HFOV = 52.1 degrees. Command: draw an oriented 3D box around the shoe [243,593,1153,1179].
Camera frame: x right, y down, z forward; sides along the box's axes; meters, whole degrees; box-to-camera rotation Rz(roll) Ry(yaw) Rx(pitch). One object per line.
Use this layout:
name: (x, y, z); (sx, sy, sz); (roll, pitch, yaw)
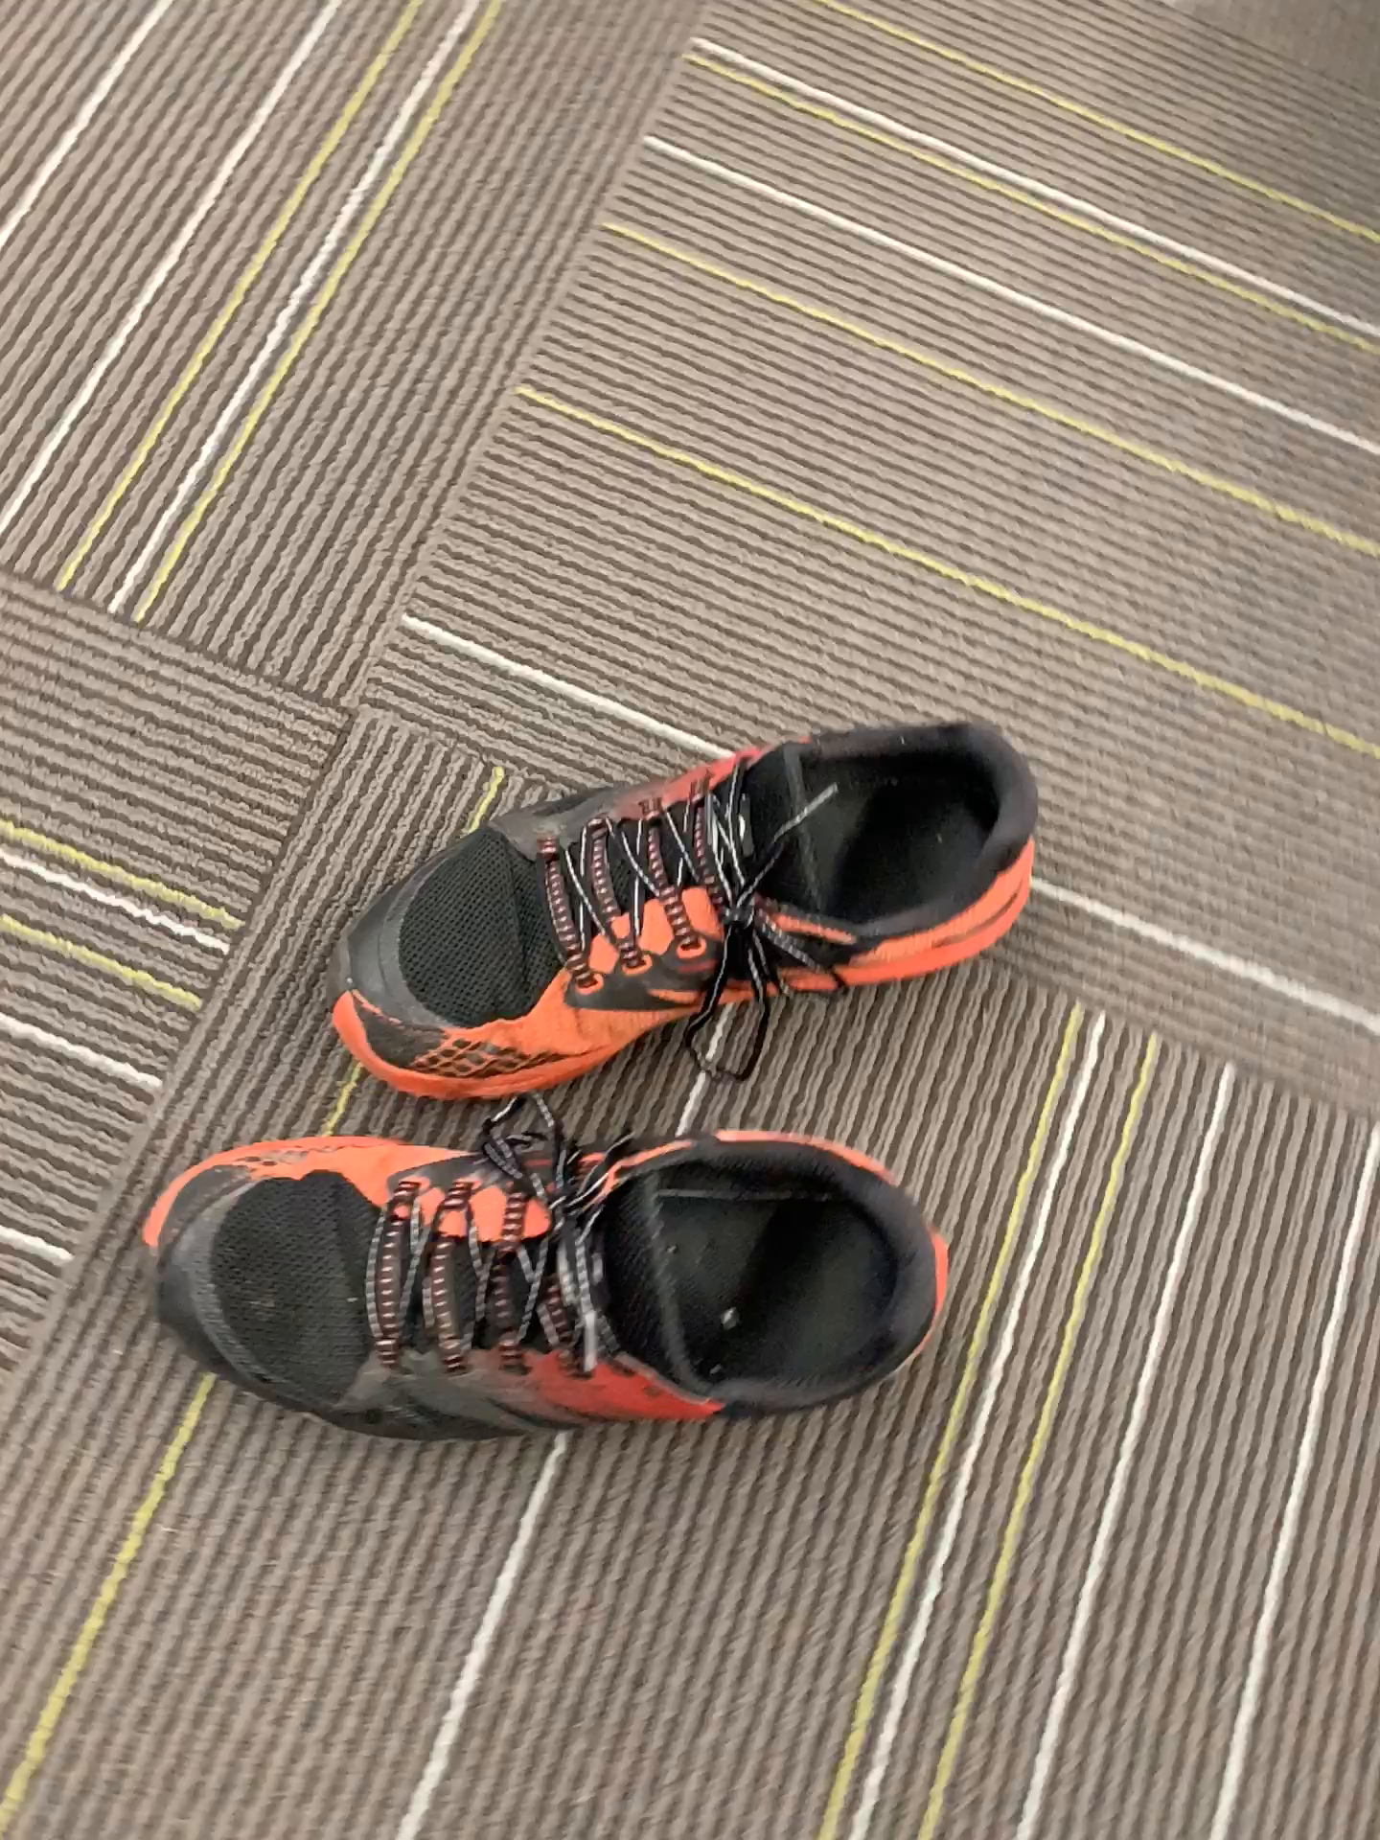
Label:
shoe: (0.000, -0.011, 0.576); (0.310, 0.130, 0.130); (-16, 77, -12)

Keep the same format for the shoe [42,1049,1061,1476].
shoe: (-0.045, 0.130, 0.524); (0.320, 0.130, 0.130); (3, 74, -7)
